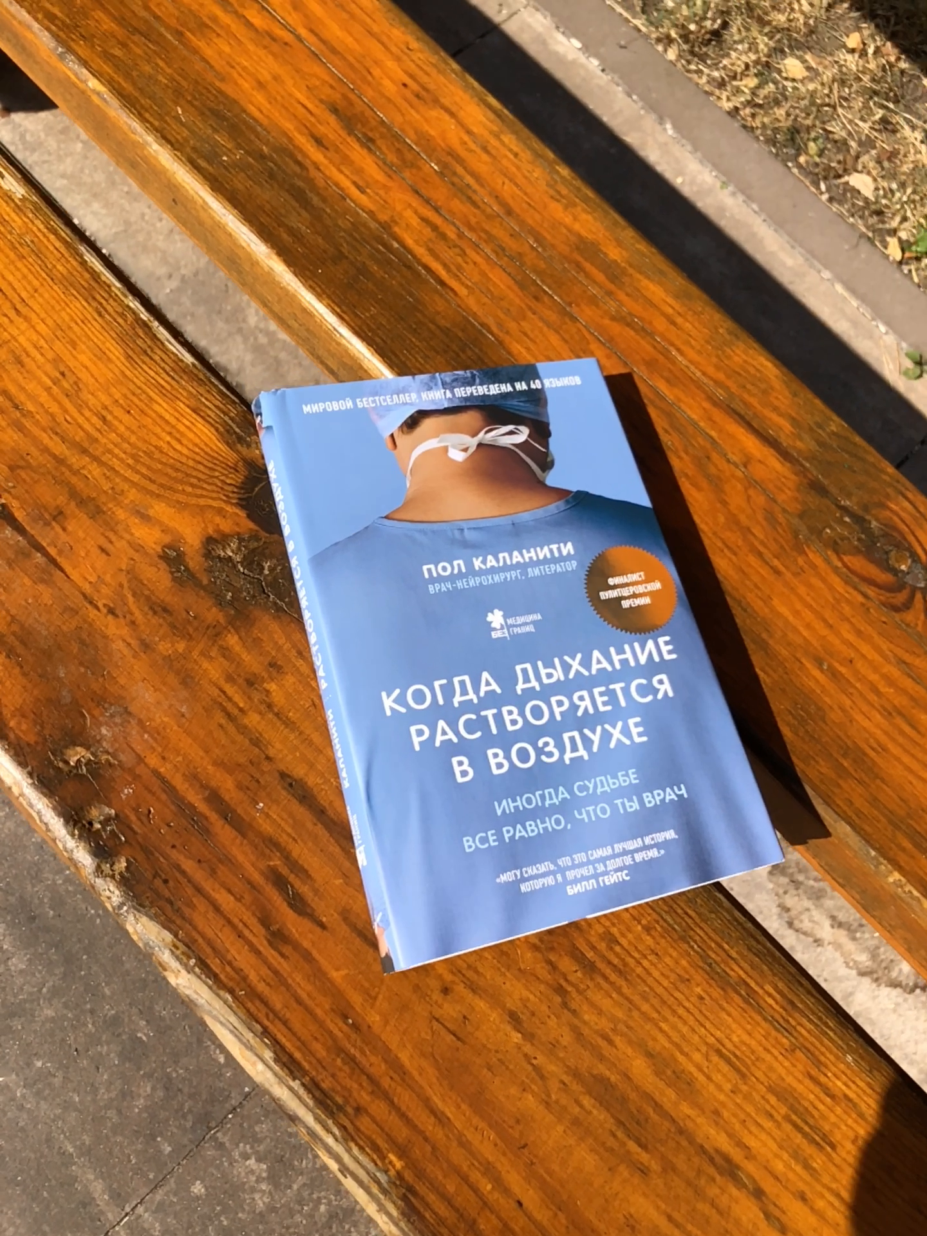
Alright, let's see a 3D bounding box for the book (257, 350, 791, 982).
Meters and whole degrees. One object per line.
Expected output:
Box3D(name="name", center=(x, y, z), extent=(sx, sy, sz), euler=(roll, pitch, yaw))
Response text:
Box3D(name="book", center=(0.015, 0.004, 0.370), extent=(0.140, 0.025, 0.210), euler=(-10, 70, -16))
